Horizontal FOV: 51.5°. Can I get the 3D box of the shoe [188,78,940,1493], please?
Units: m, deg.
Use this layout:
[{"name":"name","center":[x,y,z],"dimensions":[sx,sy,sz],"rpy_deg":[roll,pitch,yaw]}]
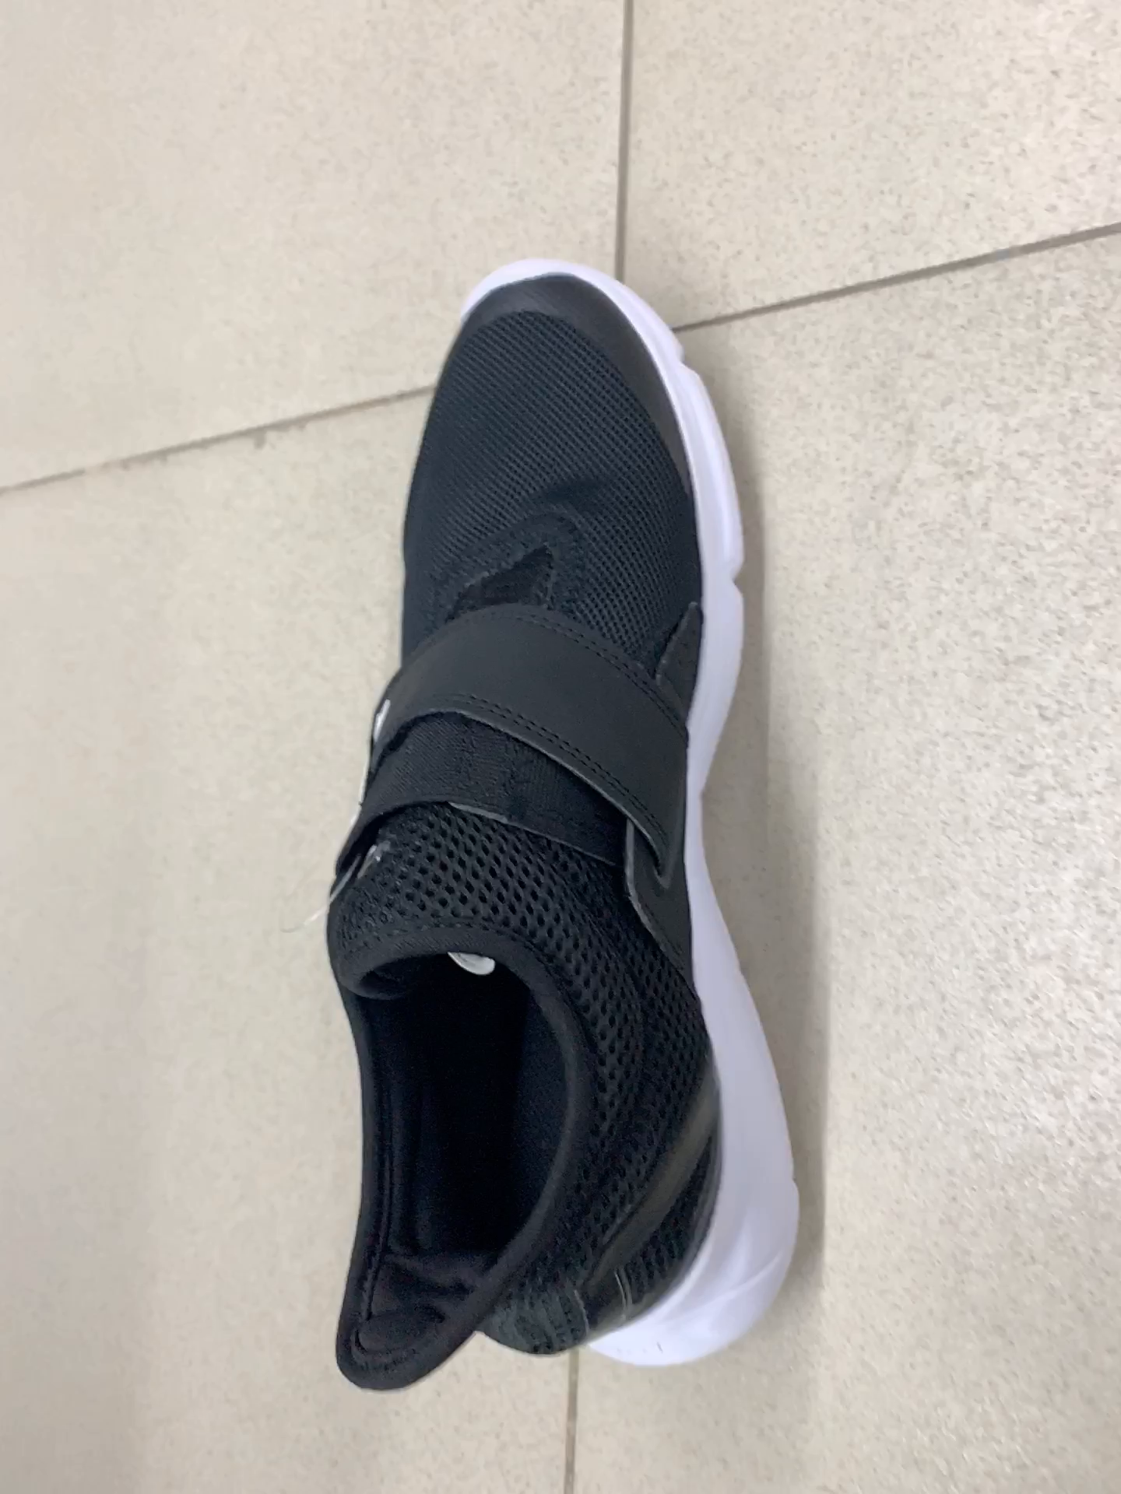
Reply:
[{"name":"shoe","center":[-0.003,0.013,0.266],"dimensions":[0.110,0.100,0.250],"rpy_deg":[-12,79,34]}]
